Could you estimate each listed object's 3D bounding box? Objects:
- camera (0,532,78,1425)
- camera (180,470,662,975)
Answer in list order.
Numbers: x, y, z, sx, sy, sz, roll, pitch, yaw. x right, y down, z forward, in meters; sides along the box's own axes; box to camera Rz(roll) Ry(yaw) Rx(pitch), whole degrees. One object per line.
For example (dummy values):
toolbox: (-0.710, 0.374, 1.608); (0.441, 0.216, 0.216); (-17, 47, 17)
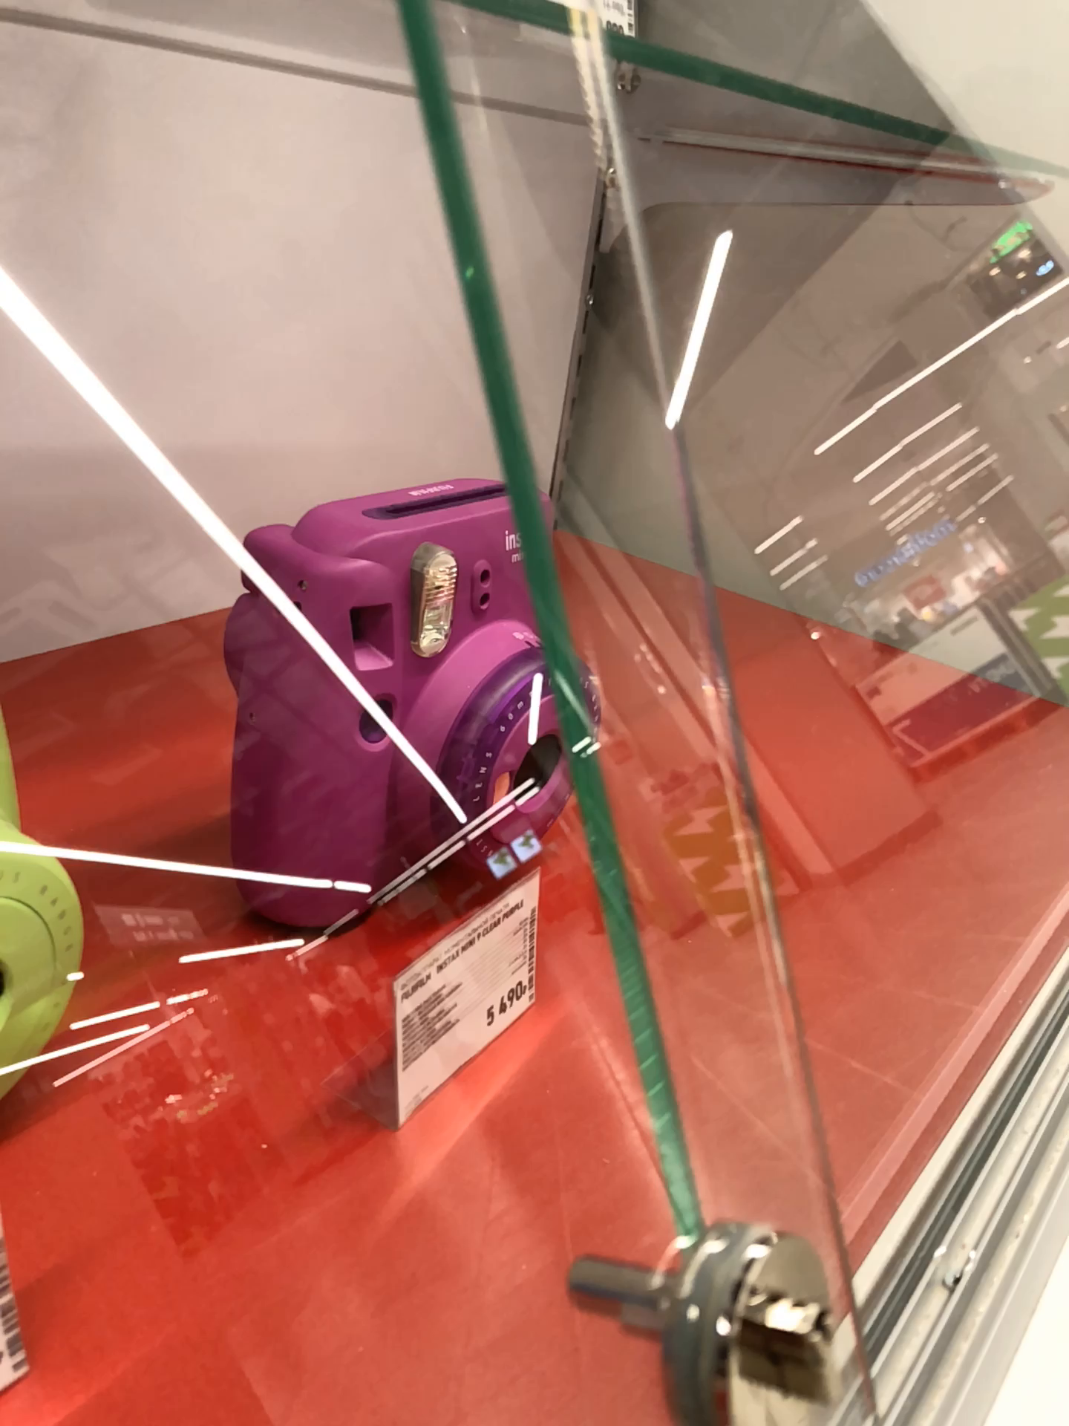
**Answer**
camera: (-0.165, 0.044, 0.216); (0.073, 0.118, 0.135); (21, 27, 26)
camera: (-0.032, -0.006, 0.349); (0.073, 0.103, 0.117); (24, 28, 30)
